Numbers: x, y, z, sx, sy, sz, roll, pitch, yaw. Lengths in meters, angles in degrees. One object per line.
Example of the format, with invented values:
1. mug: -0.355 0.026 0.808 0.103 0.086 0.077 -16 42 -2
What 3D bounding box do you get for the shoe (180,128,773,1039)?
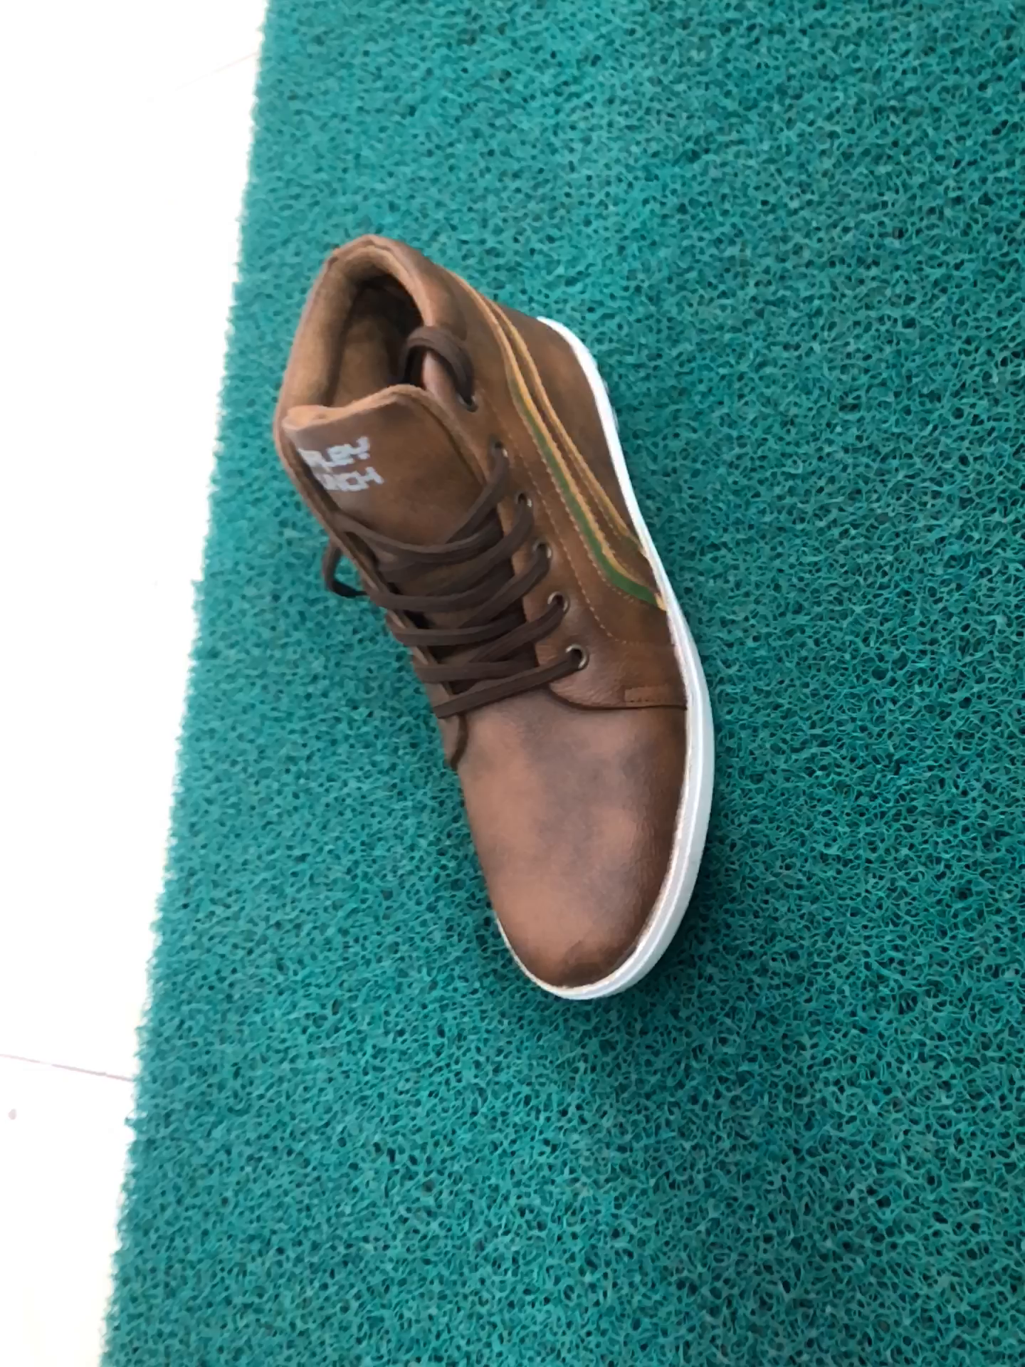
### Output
1. shoe: -0.009 -0.021 0.424 0.090 0.190 0.270 -20 69 27
